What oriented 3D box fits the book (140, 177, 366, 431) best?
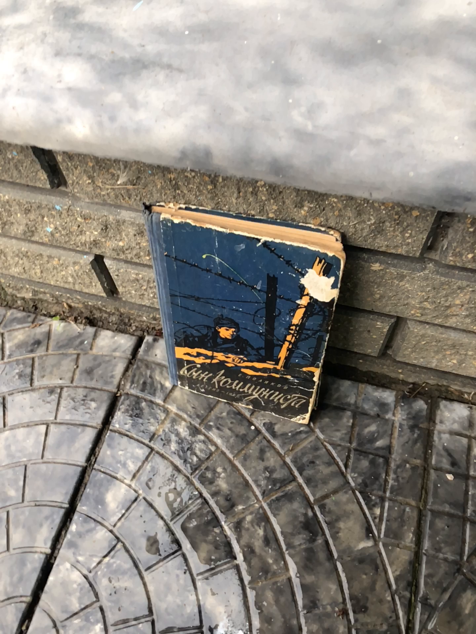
[{"bbox_3d":[0.008,0.001,0.412,0.140,0.199,0.040,14,49,12],"label":"book"}]
